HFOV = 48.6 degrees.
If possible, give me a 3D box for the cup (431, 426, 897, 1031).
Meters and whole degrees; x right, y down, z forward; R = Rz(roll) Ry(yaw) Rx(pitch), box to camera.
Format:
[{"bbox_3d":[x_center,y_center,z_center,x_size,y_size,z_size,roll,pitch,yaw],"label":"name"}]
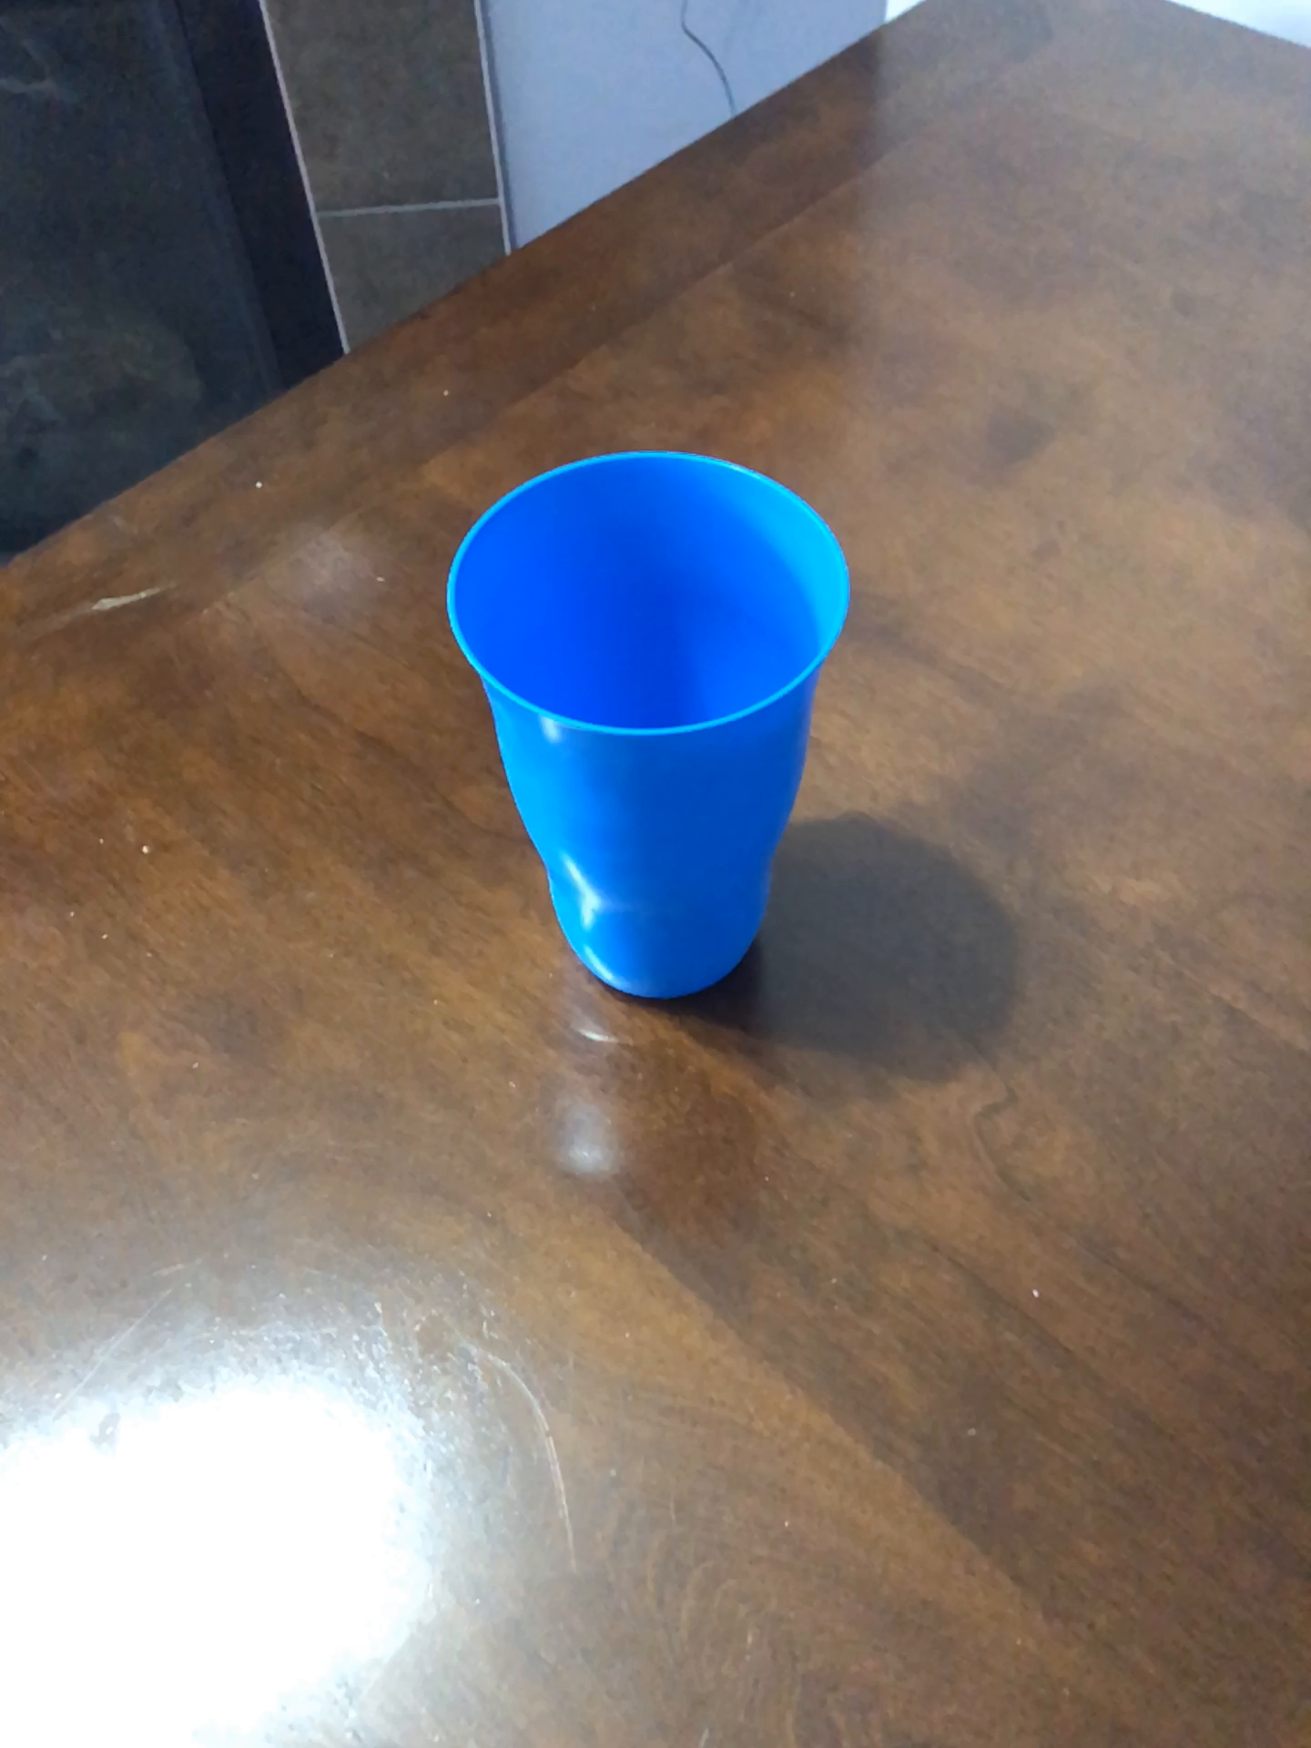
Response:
[{"bbox_3d":[0.003,-0.034,0.393,0.100,0.130,0.100,-1,54,1],"label":"cup"}]
